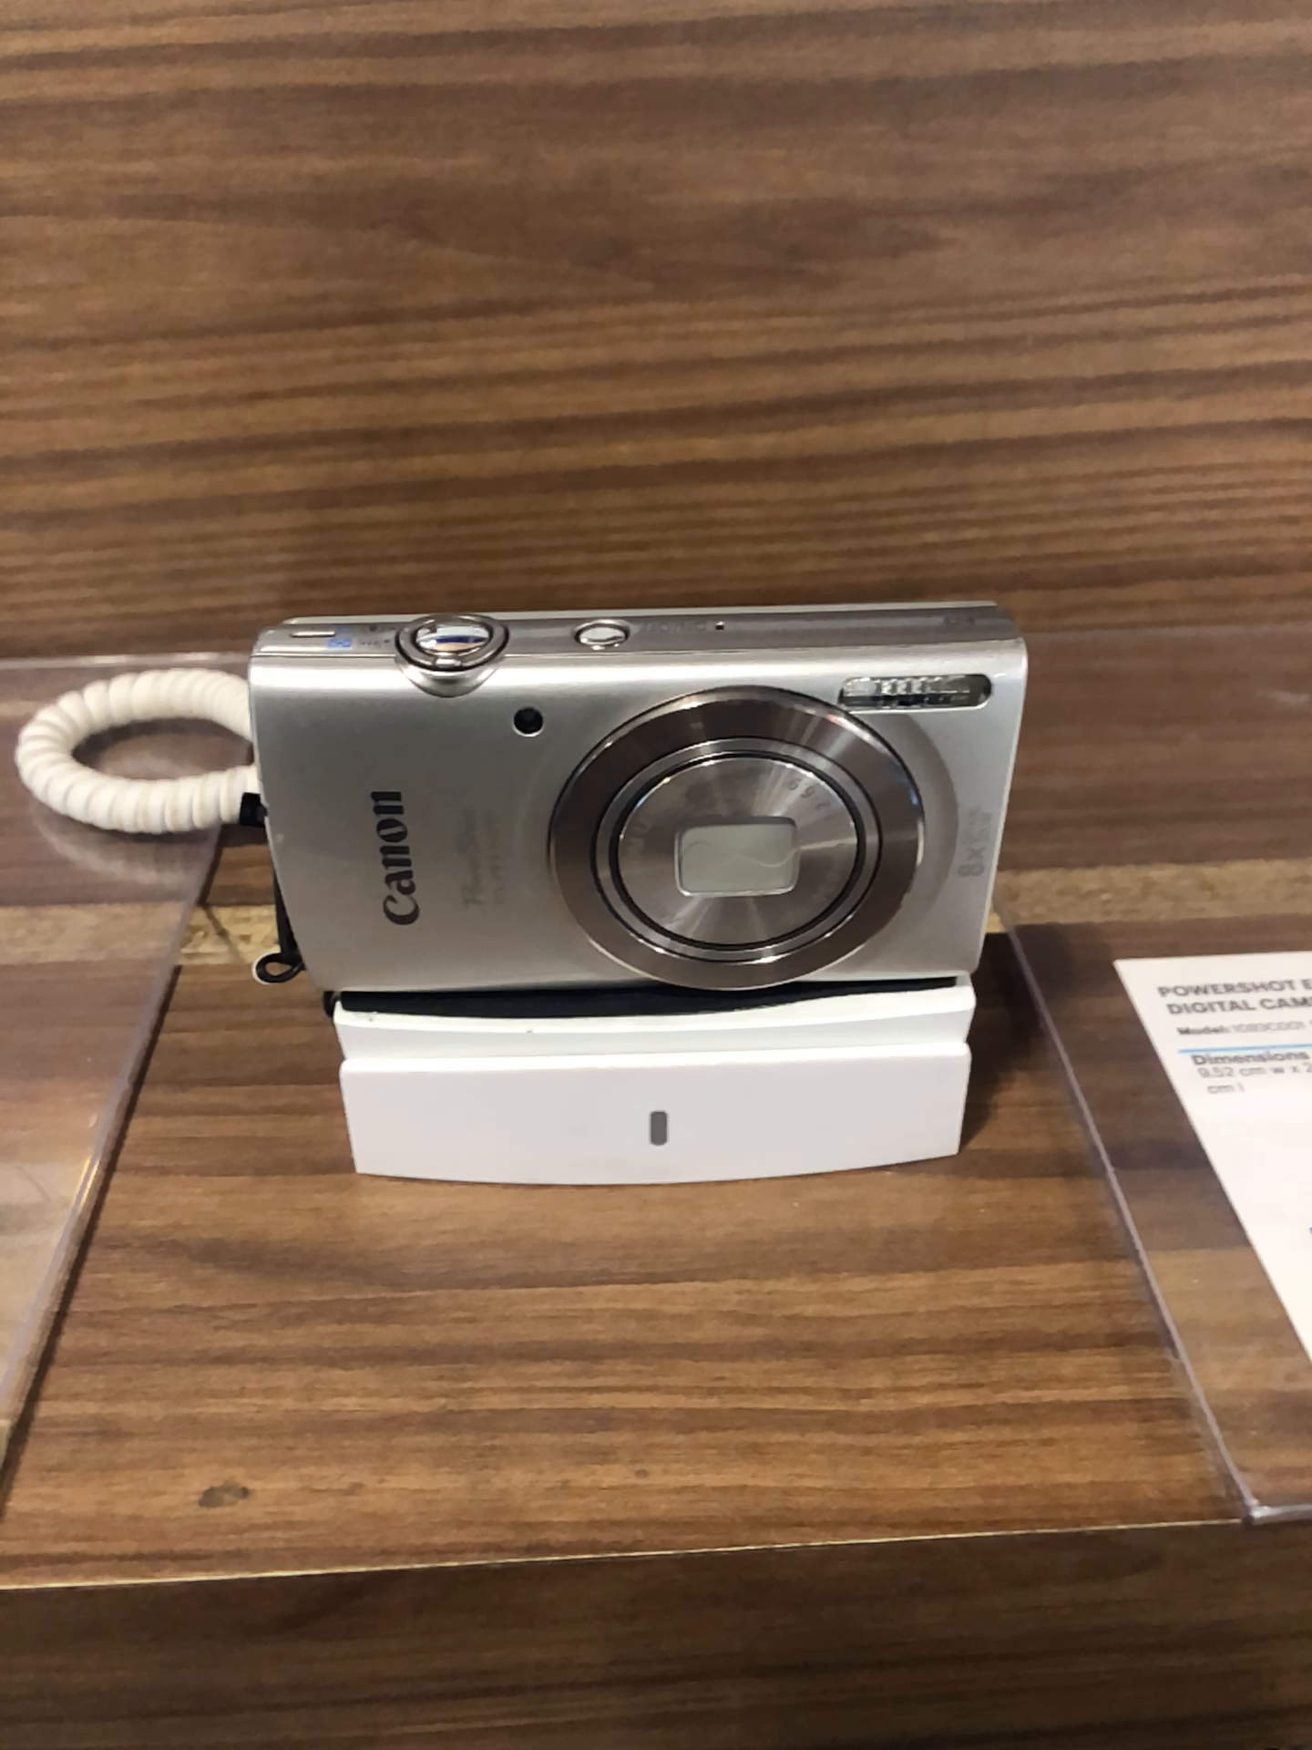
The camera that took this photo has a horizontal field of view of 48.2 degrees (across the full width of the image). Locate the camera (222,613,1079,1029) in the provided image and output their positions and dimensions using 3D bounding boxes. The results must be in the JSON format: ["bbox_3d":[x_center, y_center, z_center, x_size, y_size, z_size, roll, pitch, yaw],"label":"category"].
[{"bbox_3d":[0.000,-0.006,0.194,0.100,0.050,0.020,-2,37,0],"label":"camera"}]
